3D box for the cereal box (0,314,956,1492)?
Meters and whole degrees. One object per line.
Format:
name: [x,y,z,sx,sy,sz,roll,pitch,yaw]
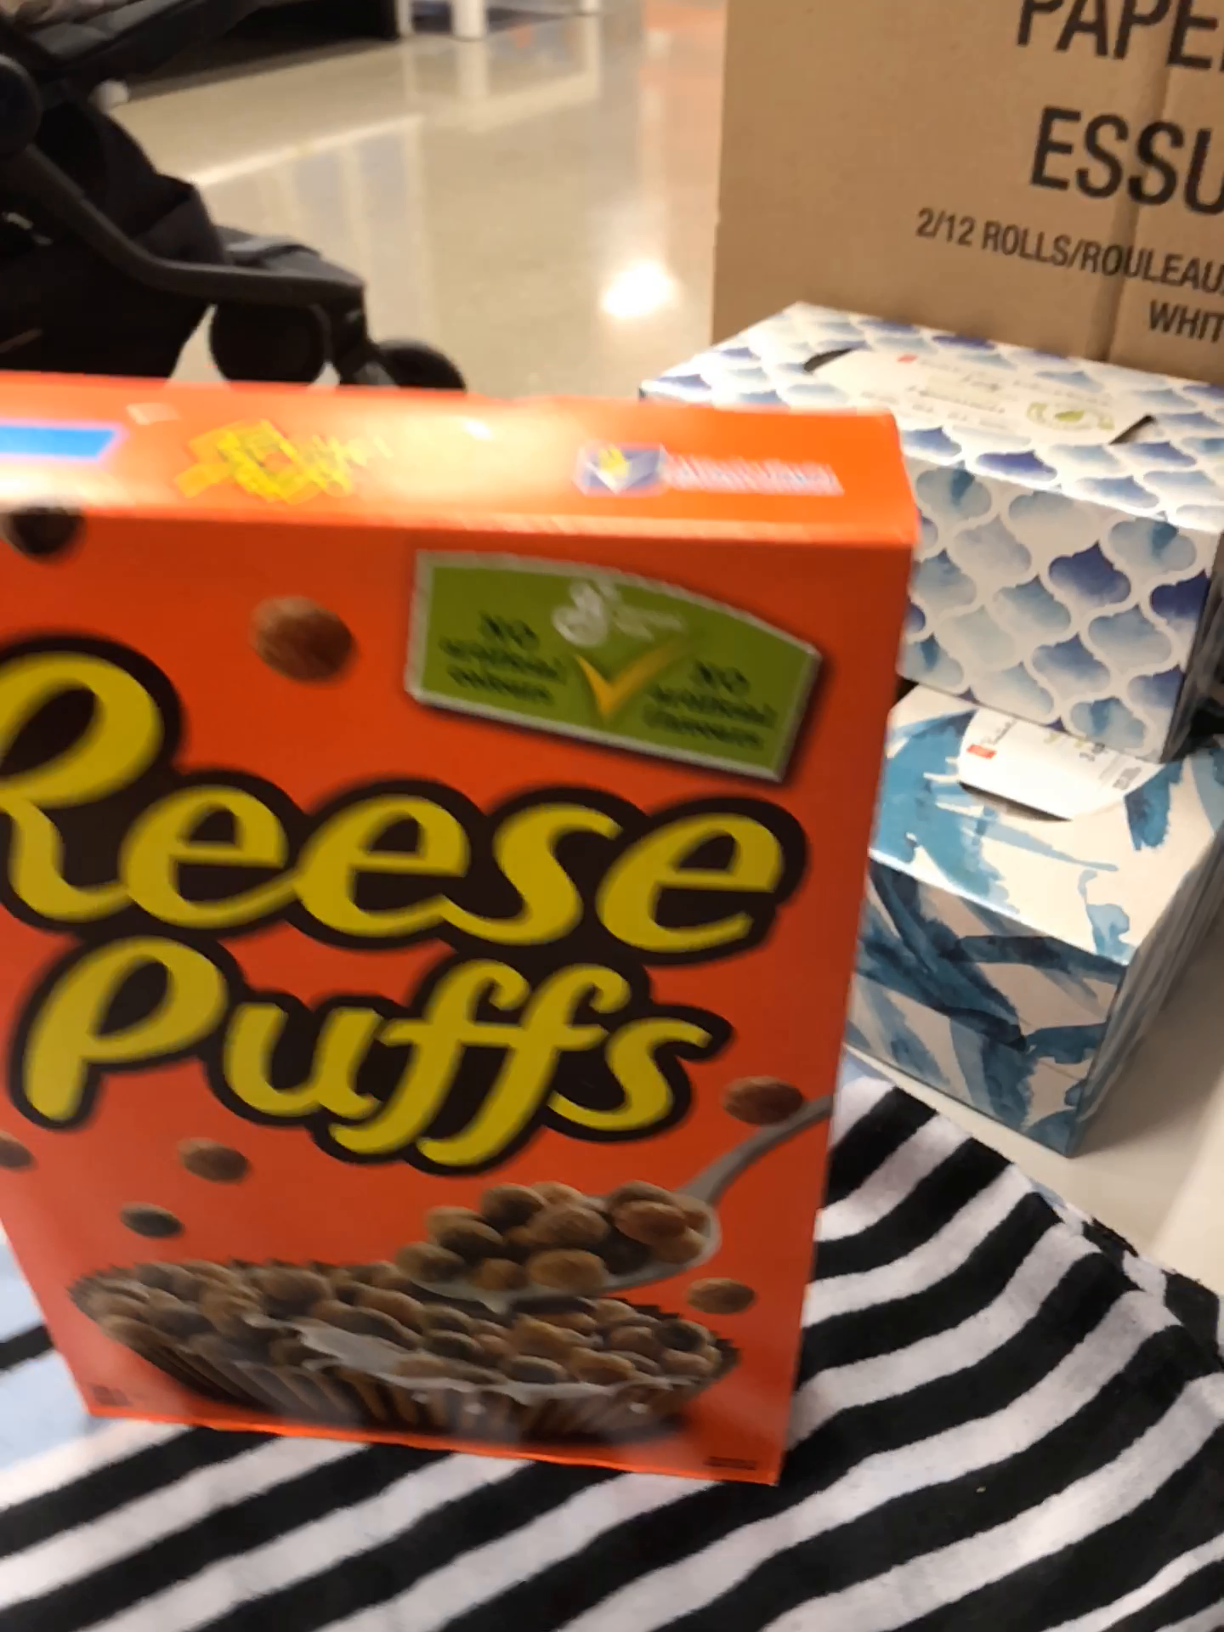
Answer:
cereal box: [-0.057,0.042,0.282,0.210,0.269,0.040,3,38,6]
